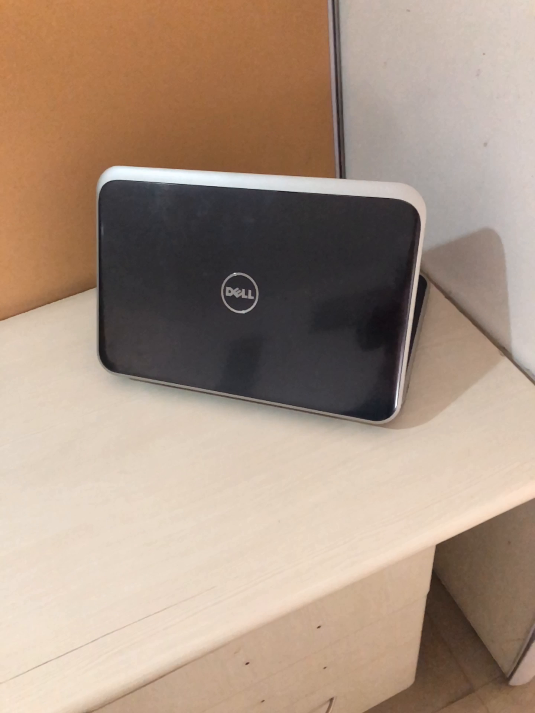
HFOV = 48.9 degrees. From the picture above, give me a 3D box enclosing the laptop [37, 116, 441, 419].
[{"bbox_3d":[-0.009,-0.116,0.671,0.348,0.192,0.241,10,49,18],"label":"laptop"}]
